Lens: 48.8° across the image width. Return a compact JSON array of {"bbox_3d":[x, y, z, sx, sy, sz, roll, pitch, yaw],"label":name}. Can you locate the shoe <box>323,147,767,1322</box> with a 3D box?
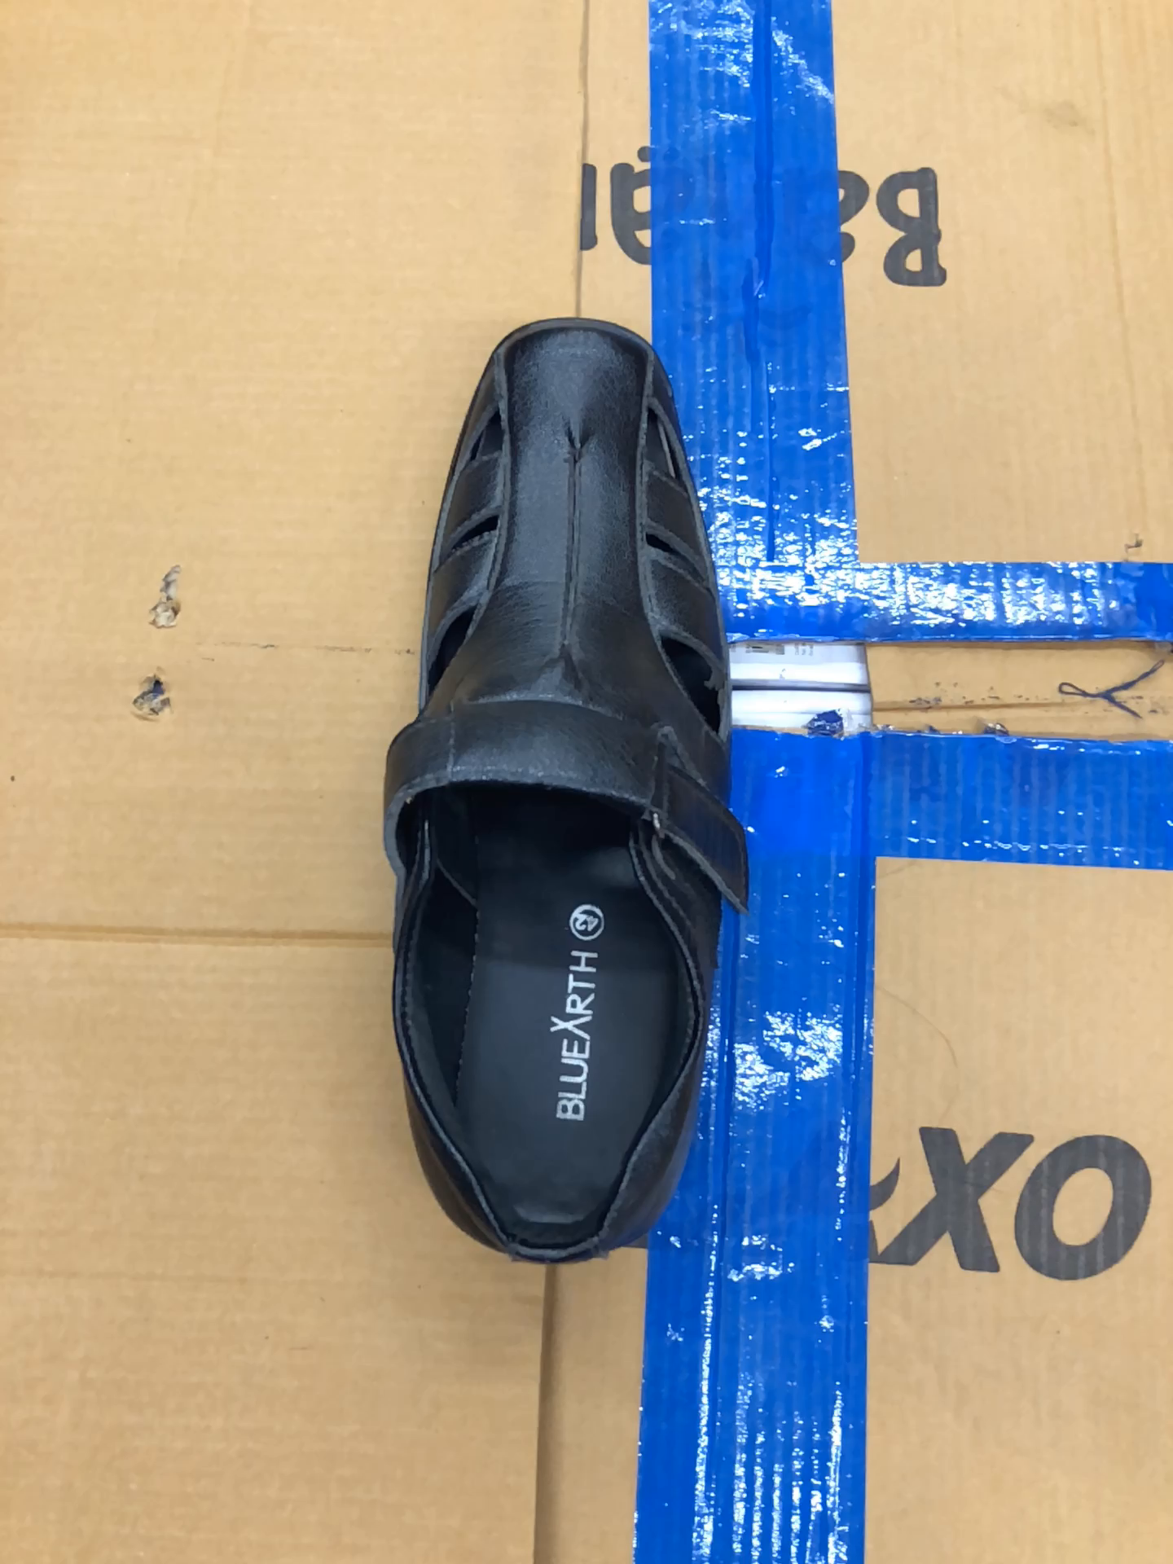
[{"bbox_3d":[-0.009,-0.015,0.371,0.100,0.100,0.300,0,78,1],"label":"shoe"}]
